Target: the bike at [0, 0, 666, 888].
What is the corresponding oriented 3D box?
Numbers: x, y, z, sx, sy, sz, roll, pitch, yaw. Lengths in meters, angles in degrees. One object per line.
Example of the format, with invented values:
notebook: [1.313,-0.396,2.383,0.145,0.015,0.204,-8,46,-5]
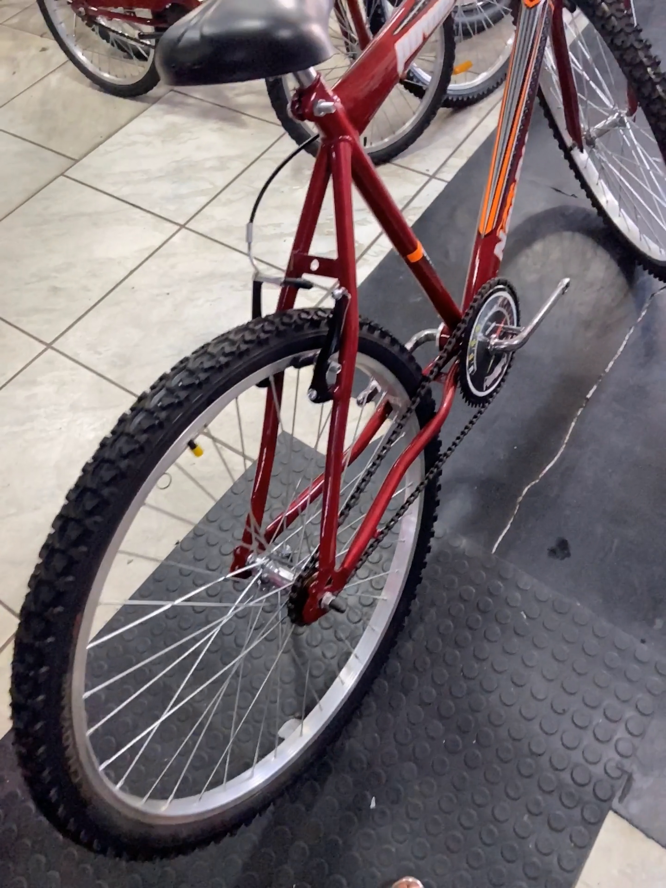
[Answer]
bike: [0.026,-0.384,0.835,0.566,1.030,1.587,18,63,19]
